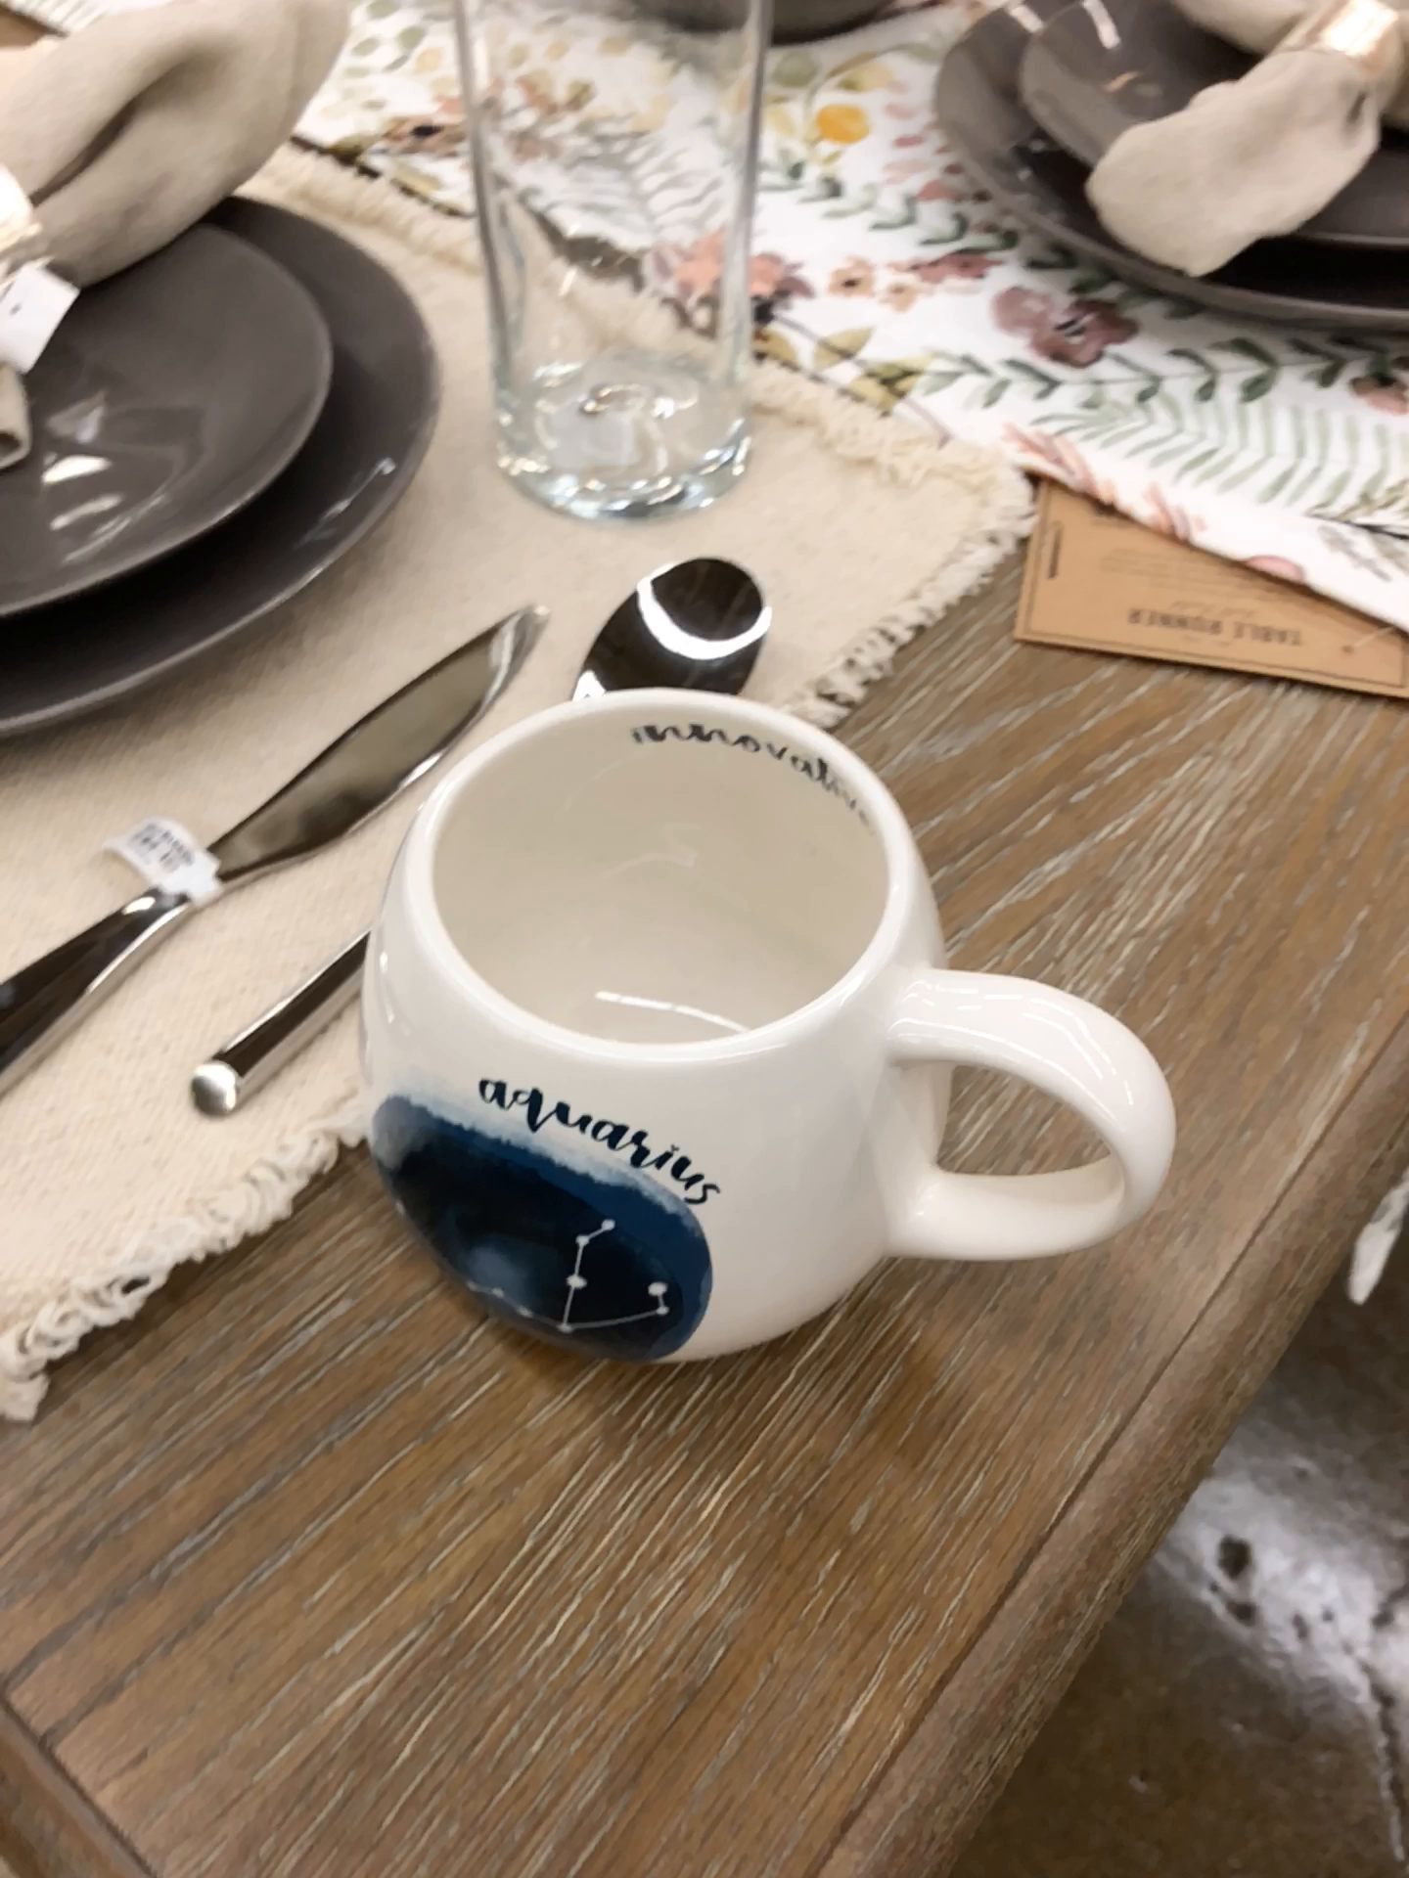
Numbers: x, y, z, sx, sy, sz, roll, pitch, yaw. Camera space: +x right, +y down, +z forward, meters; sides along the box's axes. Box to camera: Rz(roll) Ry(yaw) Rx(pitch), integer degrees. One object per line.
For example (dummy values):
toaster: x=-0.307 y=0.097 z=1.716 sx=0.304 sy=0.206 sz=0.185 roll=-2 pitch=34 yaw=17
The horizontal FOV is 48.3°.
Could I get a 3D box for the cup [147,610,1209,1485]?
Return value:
cup: x=0.001 y=0.016 z=0.256 sx=0.134 sy=0.081 sz=0.083 roll=13 pitch=51 yaw=9
